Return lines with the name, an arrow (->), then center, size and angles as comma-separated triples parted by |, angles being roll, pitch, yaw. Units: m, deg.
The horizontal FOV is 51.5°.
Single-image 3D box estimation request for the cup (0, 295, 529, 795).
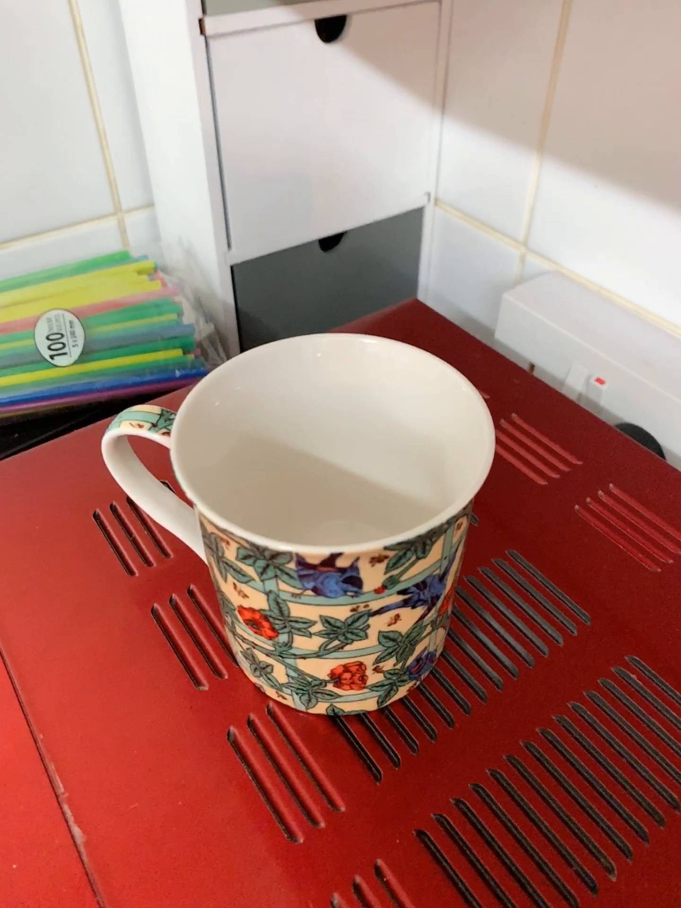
cup -> -0.017, 0.020, 0.202 | 0.110, 0.079, 0.081 | 16, 45, 17
